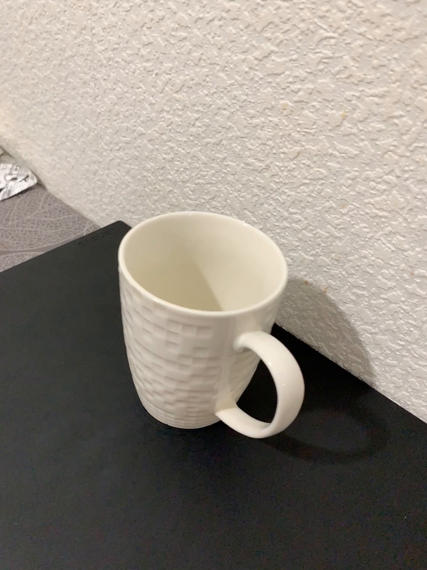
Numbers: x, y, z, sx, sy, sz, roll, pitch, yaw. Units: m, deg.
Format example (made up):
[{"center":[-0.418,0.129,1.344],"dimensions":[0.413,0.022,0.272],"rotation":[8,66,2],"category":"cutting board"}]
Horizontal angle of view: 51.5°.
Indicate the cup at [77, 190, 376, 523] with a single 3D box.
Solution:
[{"center":[-0.002,0.031,0.241],"dimensions":[0.081,0.105,0.120],"rotation":[-27,51,-33],"category":"cup"}]
